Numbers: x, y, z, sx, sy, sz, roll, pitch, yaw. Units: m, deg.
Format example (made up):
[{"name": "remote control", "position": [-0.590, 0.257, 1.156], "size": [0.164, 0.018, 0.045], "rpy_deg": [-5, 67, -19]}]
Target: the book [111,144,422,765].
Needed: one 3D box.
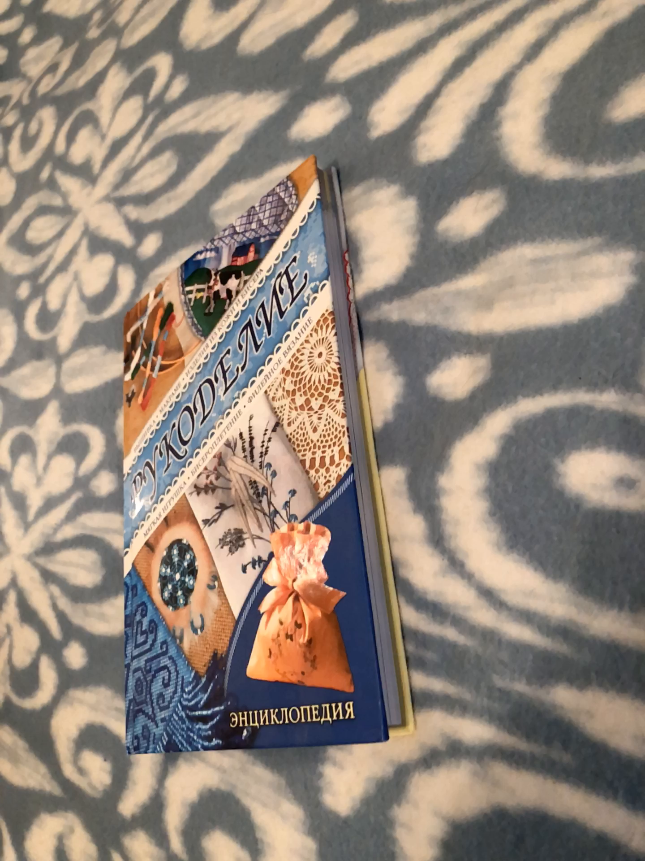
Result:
[{"name": "book", "position": [-0.045, 0.018, 0.324], "size": [0.169, 0.020, 0.238], "rpy_deg": [-26, 62, 41]}]
